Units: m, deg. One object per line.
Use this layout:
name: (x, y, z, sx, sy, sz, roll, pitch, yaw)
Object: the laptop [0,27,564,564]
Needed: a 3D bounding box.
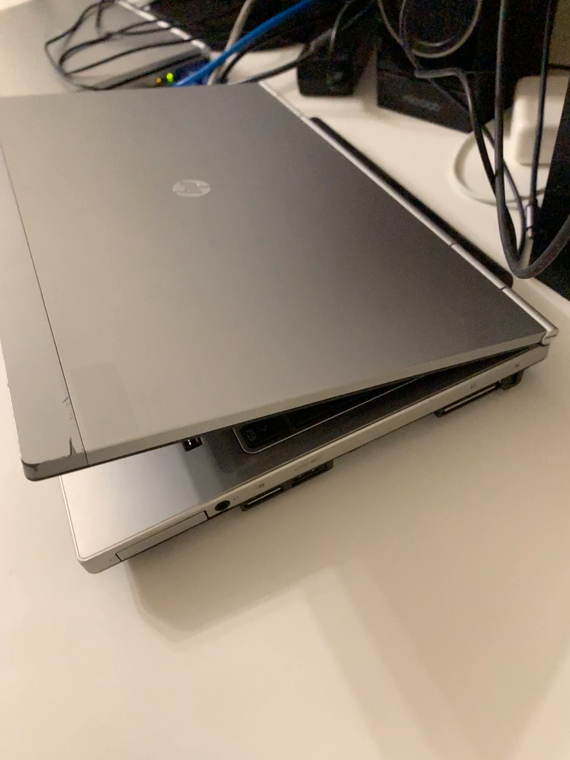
laptop: (-0.052, -0.088, 0.312, 0.199, 0.042, 0.305, -26, 49, -8)
